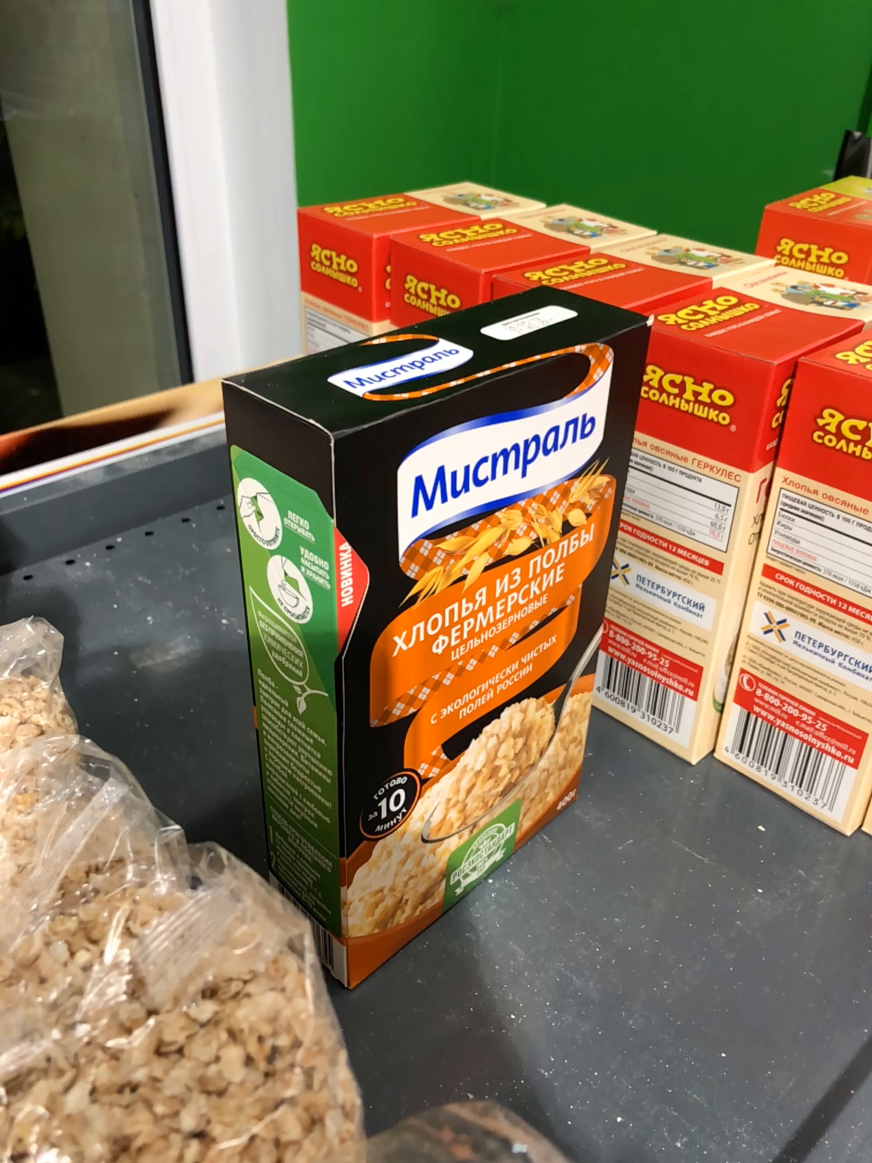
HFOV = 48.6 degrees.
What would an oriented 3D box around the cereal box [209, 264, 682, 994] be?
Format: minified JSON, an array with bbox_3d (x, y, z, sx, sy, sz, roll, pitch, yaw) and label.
[{"bbox_3d":[0.007,0.016,0.328,0.050,0.209,0.140,29,42,35],"label":"cereal box"}]
